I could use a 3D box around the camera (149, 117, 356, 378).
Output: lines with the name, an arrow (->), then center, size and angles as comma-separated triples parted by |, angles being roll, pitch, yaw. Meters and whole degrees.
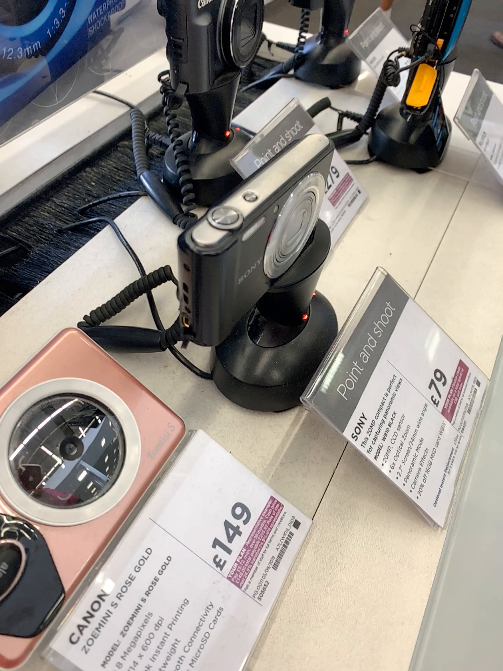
camera -> 0.003, -0.040, 0.220 | 0.030, 0.059, 0.101 | 27, 53, 18
